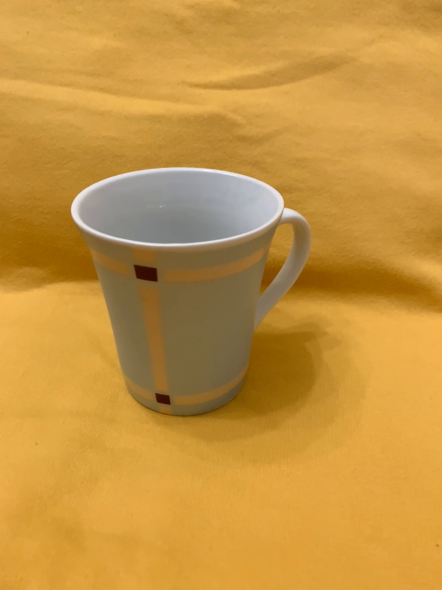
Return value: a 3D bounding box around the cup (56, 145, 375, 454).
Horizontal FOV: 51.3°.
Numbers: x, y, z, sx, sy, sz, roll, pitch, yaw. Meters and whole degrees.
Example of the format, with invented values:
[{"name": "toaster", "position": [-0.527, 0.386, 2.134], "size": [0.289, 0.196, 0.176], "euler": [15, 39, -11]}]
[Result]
[{"name": "cup", "position": [-0.010, -0.007, 0.241], "size": [0.120, 0.103, 0.099], "euler": [-12, 36, -18]}]
